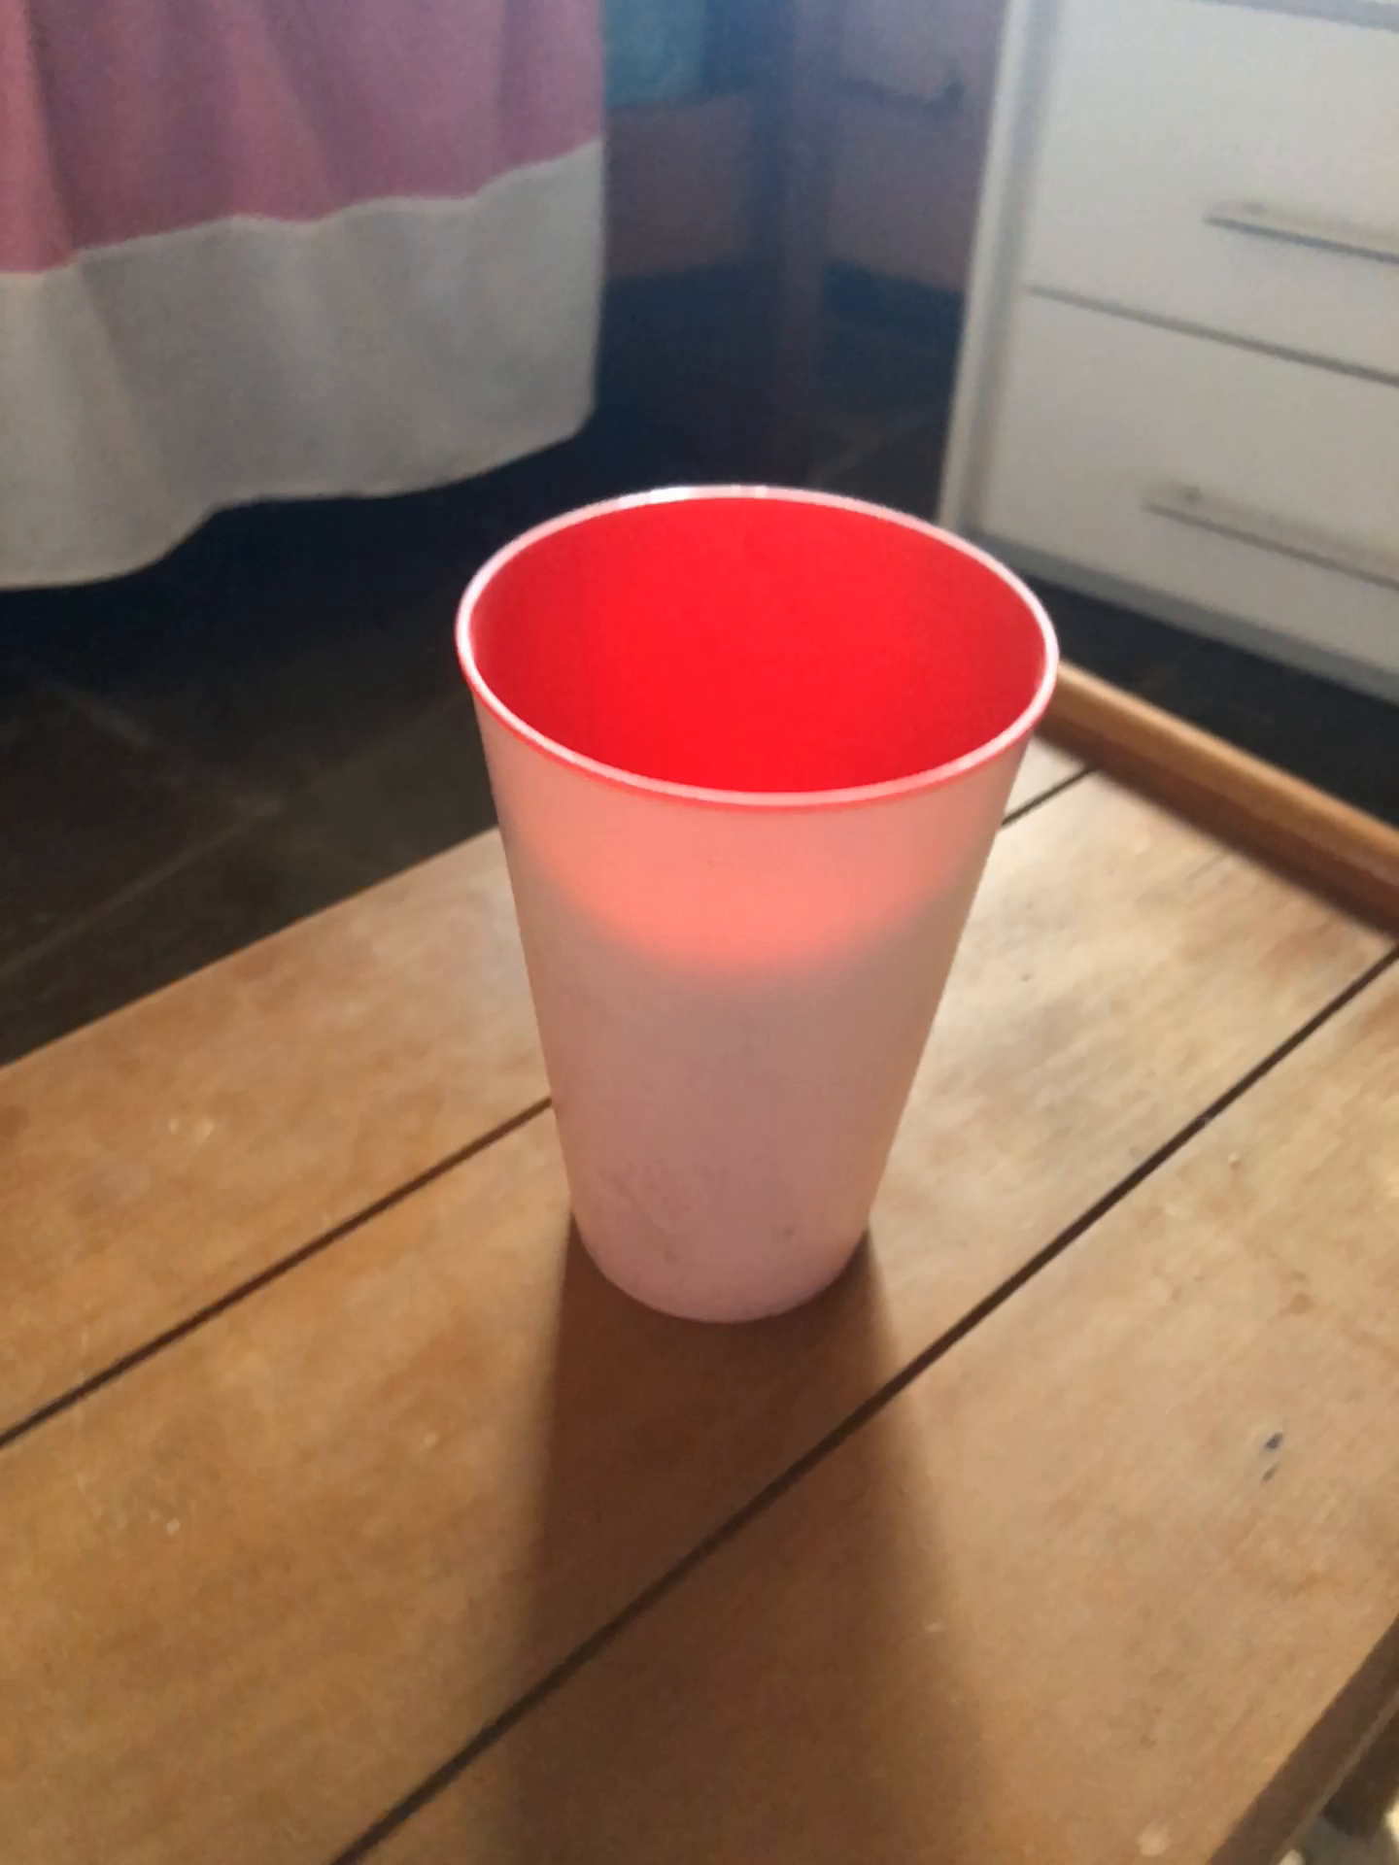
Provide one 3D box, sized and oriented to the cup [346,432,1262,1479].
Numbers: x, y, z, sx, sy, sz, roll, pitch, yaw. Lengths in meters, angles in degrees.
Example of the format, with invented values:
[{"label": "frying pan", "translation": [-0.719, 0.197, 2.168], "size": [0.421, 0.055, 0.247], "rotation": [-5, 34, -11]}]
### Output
[{"label": "cup", "translation": [0.013, -0.001, 0.268], "size": [0.090, 0.119, 0.100], "rotation": [-32, 51, -34]}]
